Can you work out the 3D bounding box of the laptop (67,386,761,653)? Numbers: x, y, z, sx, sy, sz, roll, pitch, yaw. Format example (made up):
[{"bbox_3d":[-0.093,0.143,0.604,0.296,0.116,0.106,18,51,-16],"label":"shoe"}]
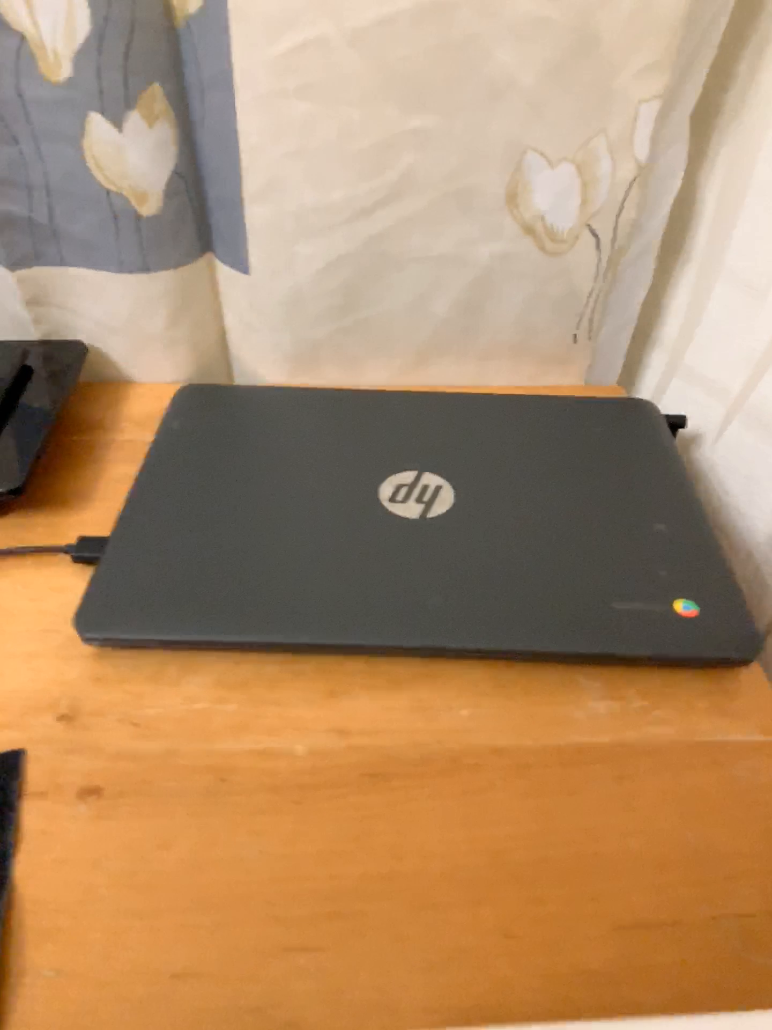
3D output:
[{"bbox_3d":[0.013,-0.011,0.396,0.281,0.002,0.195,2,39,1],"label":"laptop"}]
